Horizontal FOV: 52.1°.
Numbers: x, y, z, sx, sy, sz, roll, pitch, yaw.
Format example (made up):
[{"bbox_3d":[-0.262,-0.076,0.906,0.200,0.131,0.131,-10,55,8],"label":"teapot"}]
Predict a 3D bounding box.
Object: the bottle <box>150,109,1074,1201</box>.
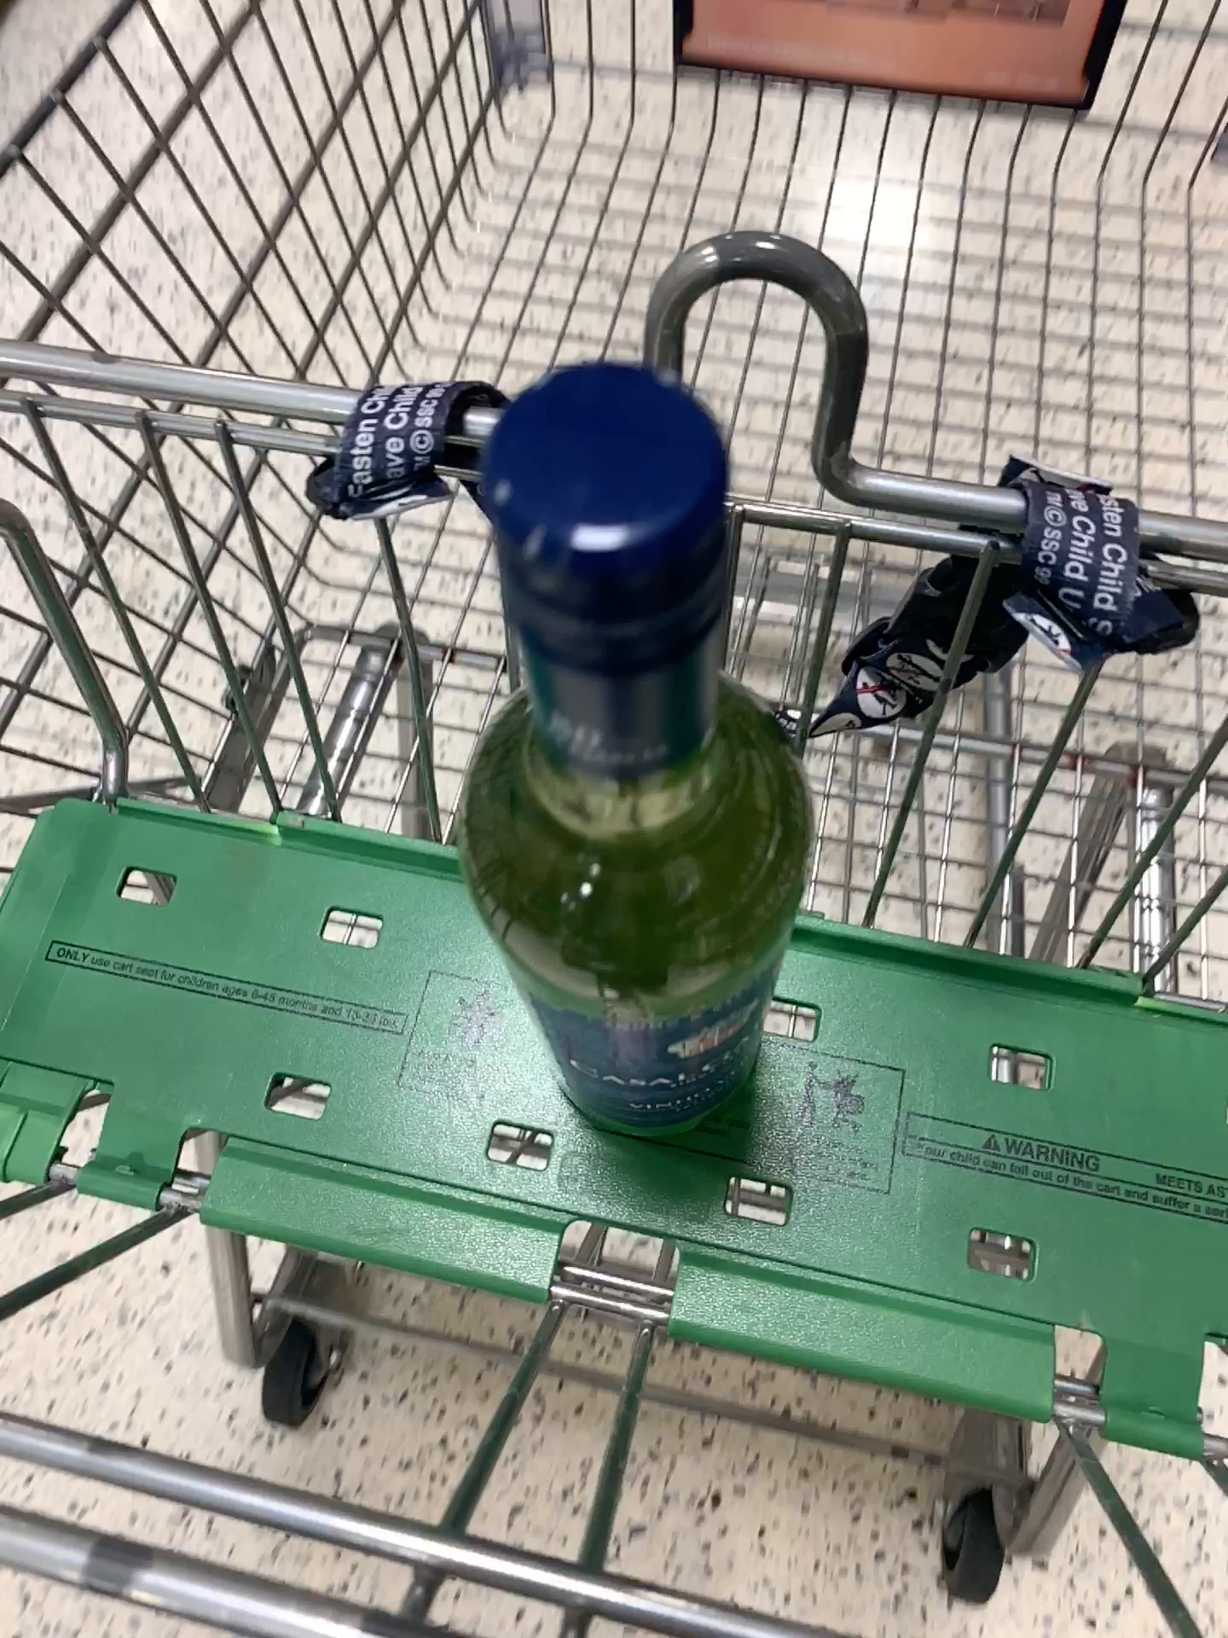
[{"bbox_3d":[0.003,0.013,0.285,0.080,0.299,0.080,-1,67,2],"label":"bottle"}]
